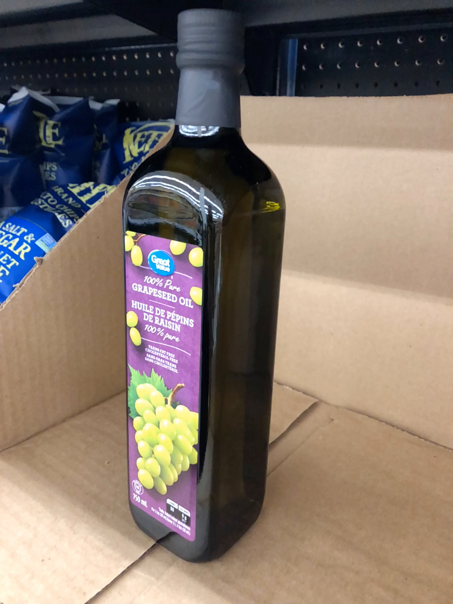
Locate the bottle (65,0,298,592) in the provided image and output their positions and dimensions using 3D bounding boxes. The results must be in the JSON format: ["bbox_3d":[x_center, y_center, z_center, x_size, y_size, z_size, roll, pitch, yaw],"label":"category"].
[{"bbox_3d":[-0.021,0.005,0.263,0.080,0.278,0.060,15,25,35],"label":"bottle"}]
